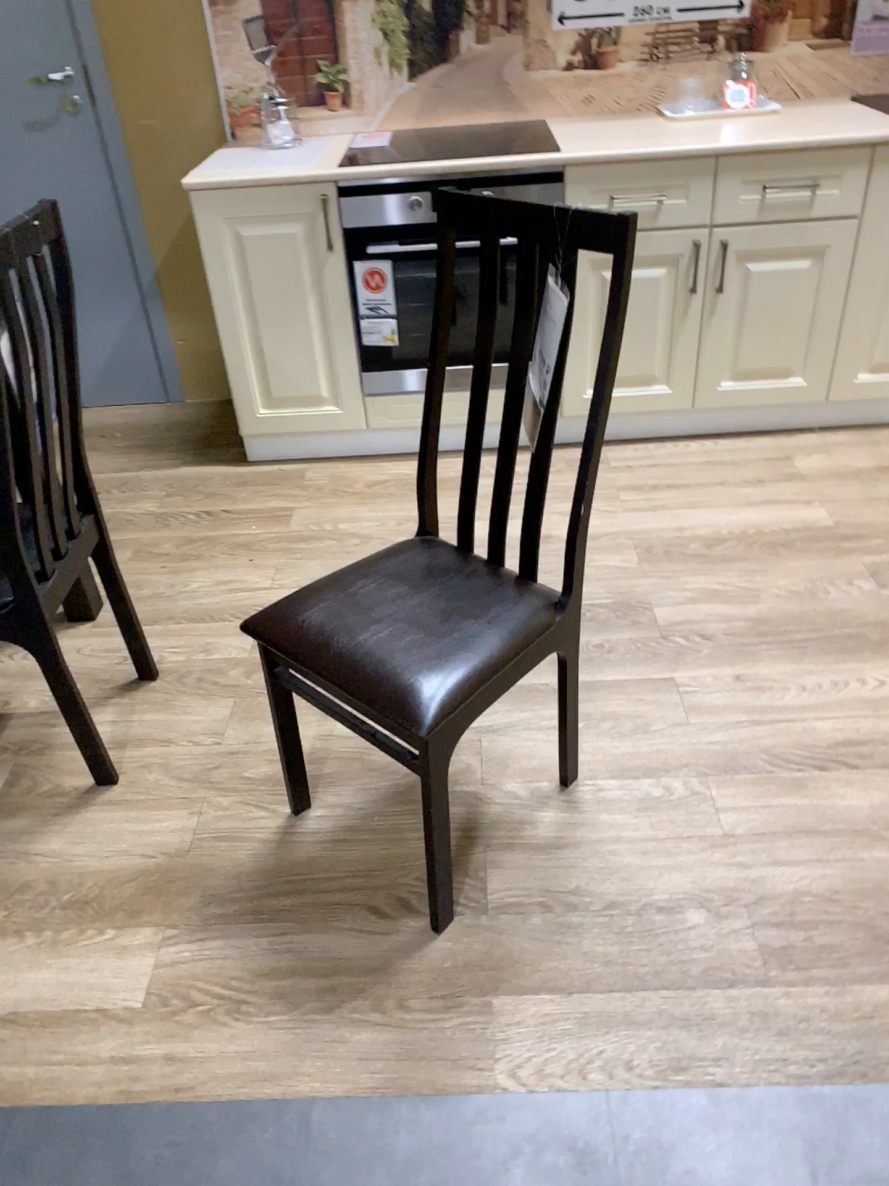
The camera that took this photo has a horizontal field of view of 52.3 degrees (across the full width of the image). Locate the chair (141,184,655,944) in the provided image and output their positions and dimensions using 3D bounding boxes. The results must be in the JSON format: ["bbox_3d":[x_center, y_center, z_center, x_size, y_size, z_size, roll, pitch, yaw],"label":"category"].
[{"bbox_3d":[-0.021,-0.040,1.407,0.421,0.985,0.491,26,45,36],"label":"chair"}]
